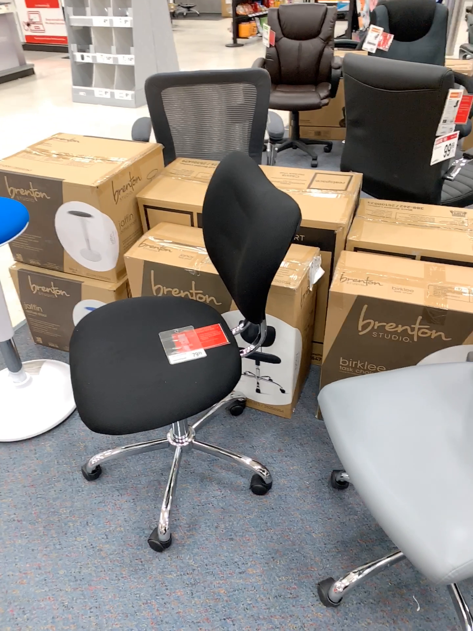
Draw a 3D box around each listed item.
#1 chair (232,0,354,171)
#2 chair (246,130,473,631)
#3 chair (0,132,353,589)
[{"bbox_3d":[0.441,-1.786,3.658,0.737,1.048,0.871,7,37,11],"label":"chair"},{"bbox_3d":[0.502,0.266,0.968,0.707,0.959,0.741,-16,39,-18],"label":"chair"},{"bbox_3d":[-0.195,0.089,1.284,0.657,0.879,0.650,-12,38,-13],"label":"chair"}]
